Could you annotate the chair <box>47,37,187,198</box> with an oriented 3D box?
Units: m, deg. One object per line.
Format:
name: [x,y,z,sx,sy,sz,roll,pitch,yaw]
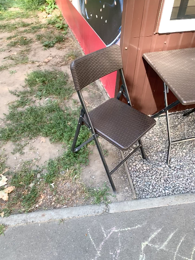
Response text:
chair: [0.097,-0.073,1.177,0.471,0.687,0.471,33,53,30]
